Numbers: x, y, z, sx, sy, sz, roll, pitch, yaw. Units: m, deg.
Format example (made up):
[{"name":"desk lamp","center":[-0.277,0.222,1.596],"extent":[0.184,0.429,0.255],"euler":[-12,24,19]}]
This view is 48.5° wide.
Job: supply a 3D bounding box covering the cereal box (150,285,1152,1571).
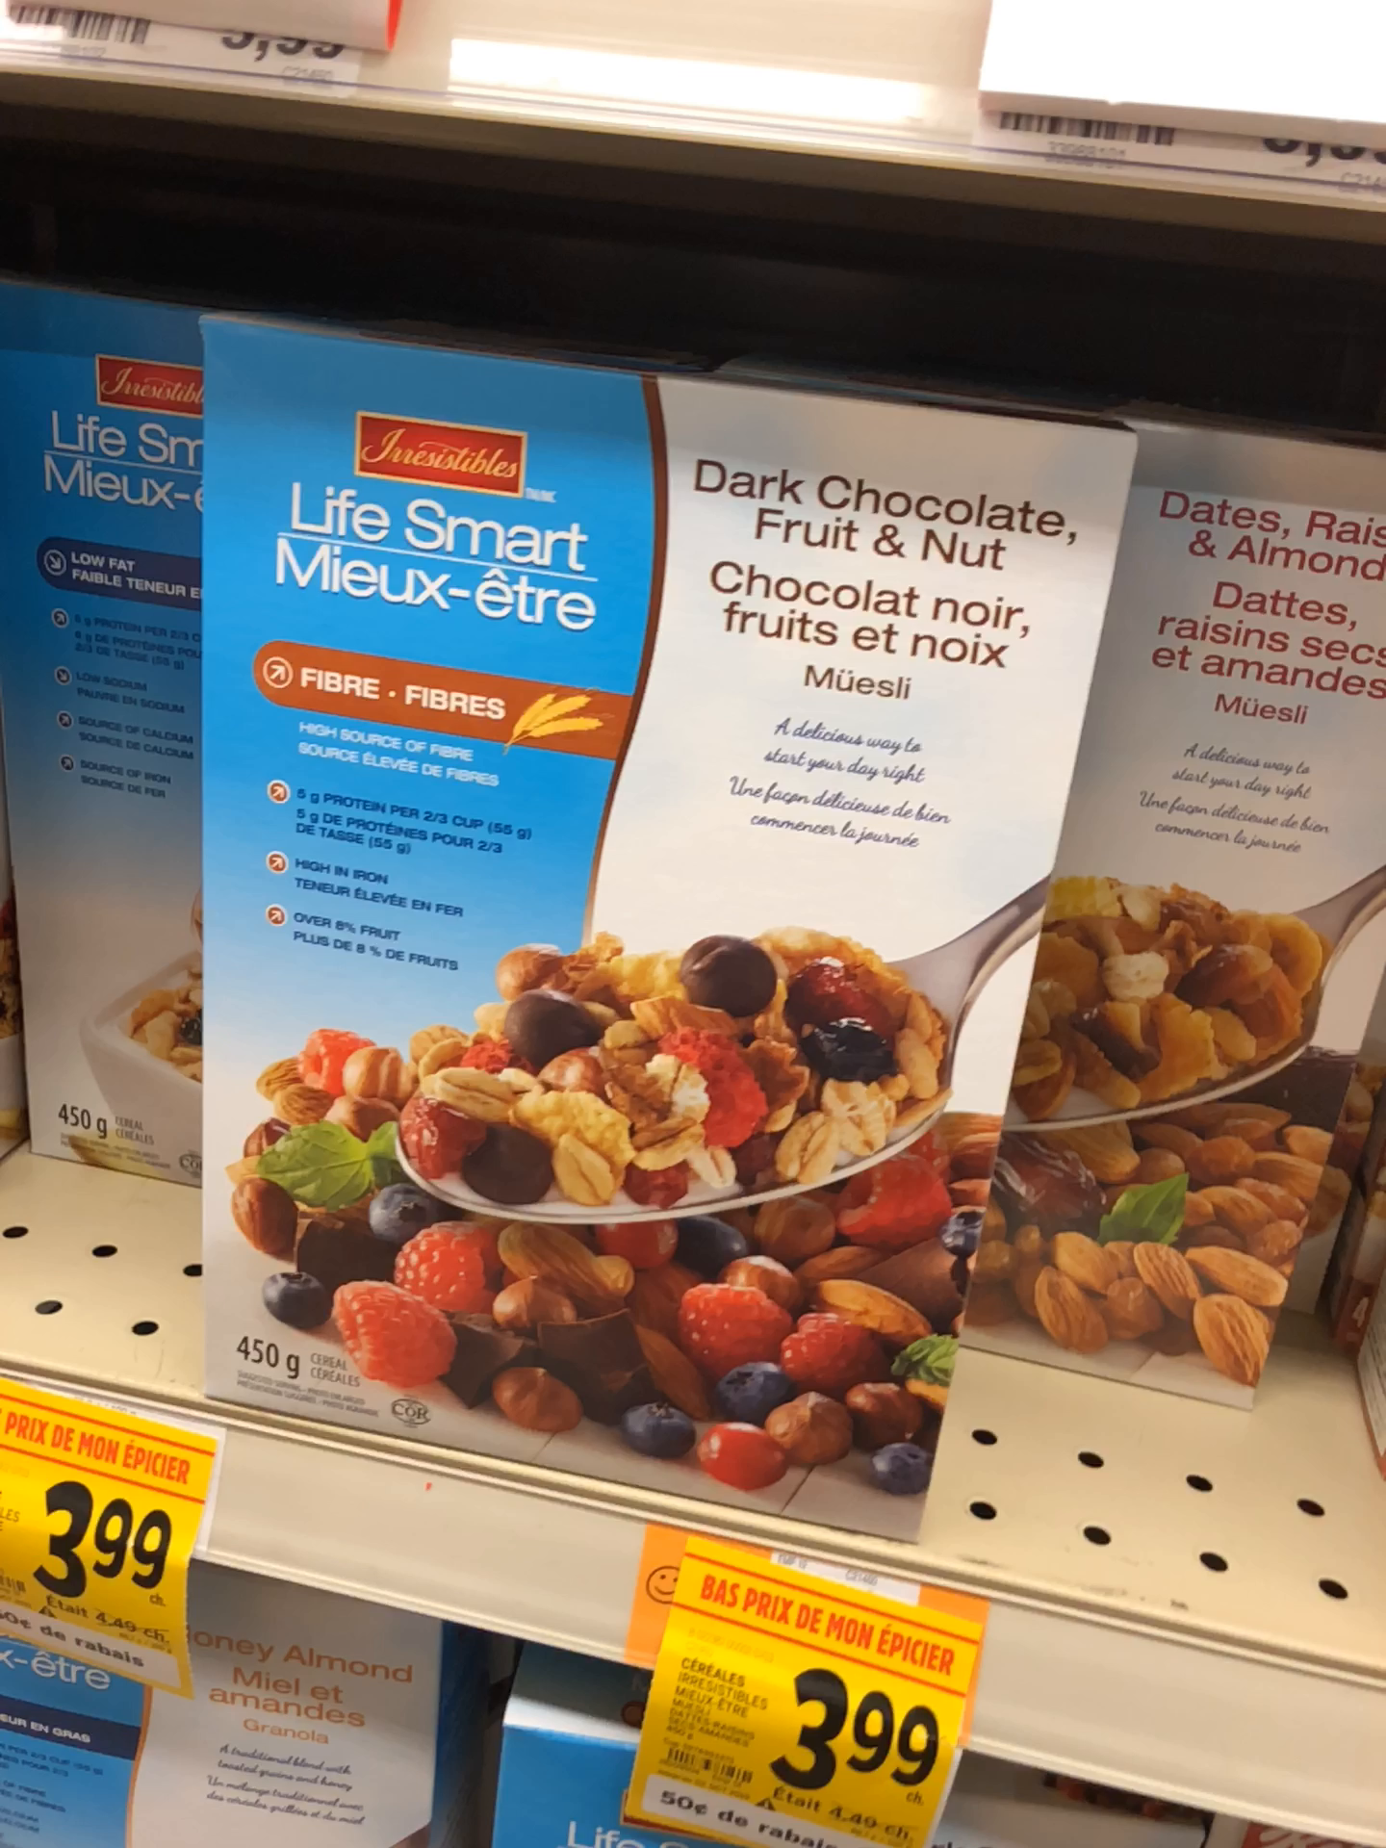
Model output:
[{"name":"cereal box","center":[-0.019,0.005,0.320],"extent":[0.170,0.238,0.050],"euler":[9,21,7]}]
